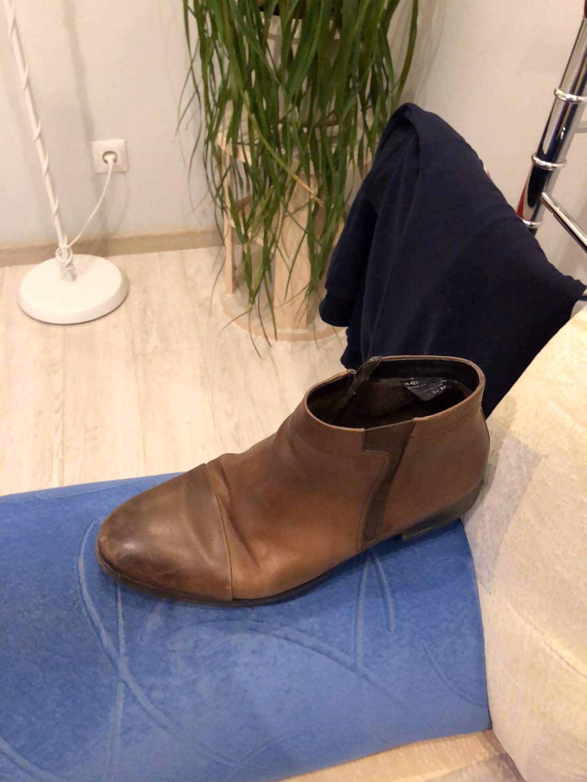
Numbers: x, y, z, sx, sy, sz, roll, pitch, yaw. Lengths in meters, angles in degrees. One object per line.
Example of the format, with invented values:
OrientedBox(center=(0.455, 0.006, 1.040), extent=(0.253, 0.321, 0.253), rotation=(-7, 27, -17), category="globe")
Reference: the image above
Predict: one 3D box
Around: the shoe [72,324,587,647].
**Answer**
OrientedBox(center=(0.021, 0.060, 0.449), extent=(0.310, 0.139, 0.111), rotation=(-8, 45, -13), category="shoe")
